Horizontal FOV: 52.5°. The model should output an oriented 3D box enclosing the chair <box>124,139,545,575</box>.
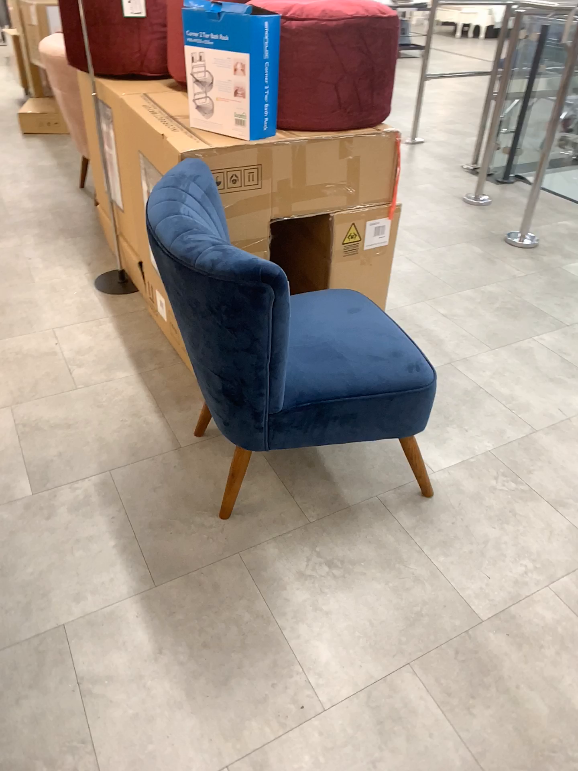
[{"bbox_3d":[0.035,-0.136,1.587,0.727,0.790,0.735,-12,39,-19],"label":"chair"}]
